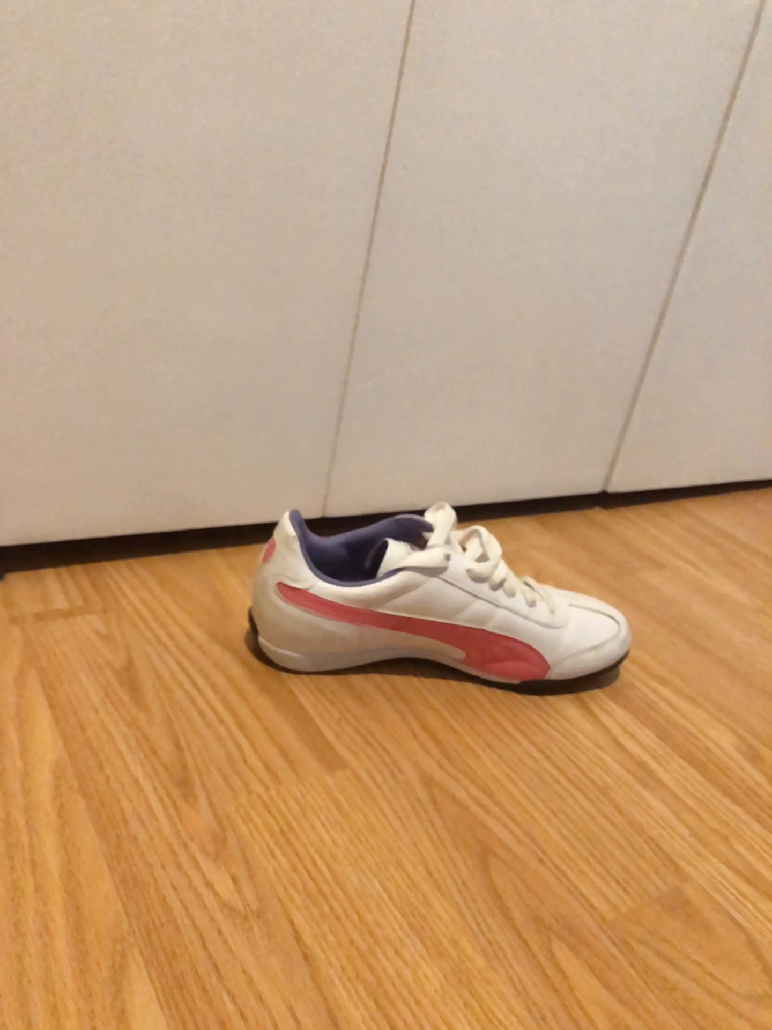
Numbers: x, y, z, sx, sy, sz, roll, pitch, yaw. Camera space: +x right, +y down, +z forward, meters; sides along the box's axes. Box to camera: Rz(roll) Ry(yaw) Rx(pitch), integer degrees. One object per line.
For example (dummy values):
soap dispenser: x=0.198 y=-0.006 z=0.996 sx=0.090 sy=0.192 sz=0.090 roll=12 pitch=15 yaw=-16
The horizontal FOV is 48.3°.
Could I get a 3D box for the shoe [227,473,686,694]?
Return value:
shoe: x=0.037 y=0.044 z=0.542 sx=0.260 sy=0.080 sz=0.100 roll=6 pitch=25 yaw=-14
